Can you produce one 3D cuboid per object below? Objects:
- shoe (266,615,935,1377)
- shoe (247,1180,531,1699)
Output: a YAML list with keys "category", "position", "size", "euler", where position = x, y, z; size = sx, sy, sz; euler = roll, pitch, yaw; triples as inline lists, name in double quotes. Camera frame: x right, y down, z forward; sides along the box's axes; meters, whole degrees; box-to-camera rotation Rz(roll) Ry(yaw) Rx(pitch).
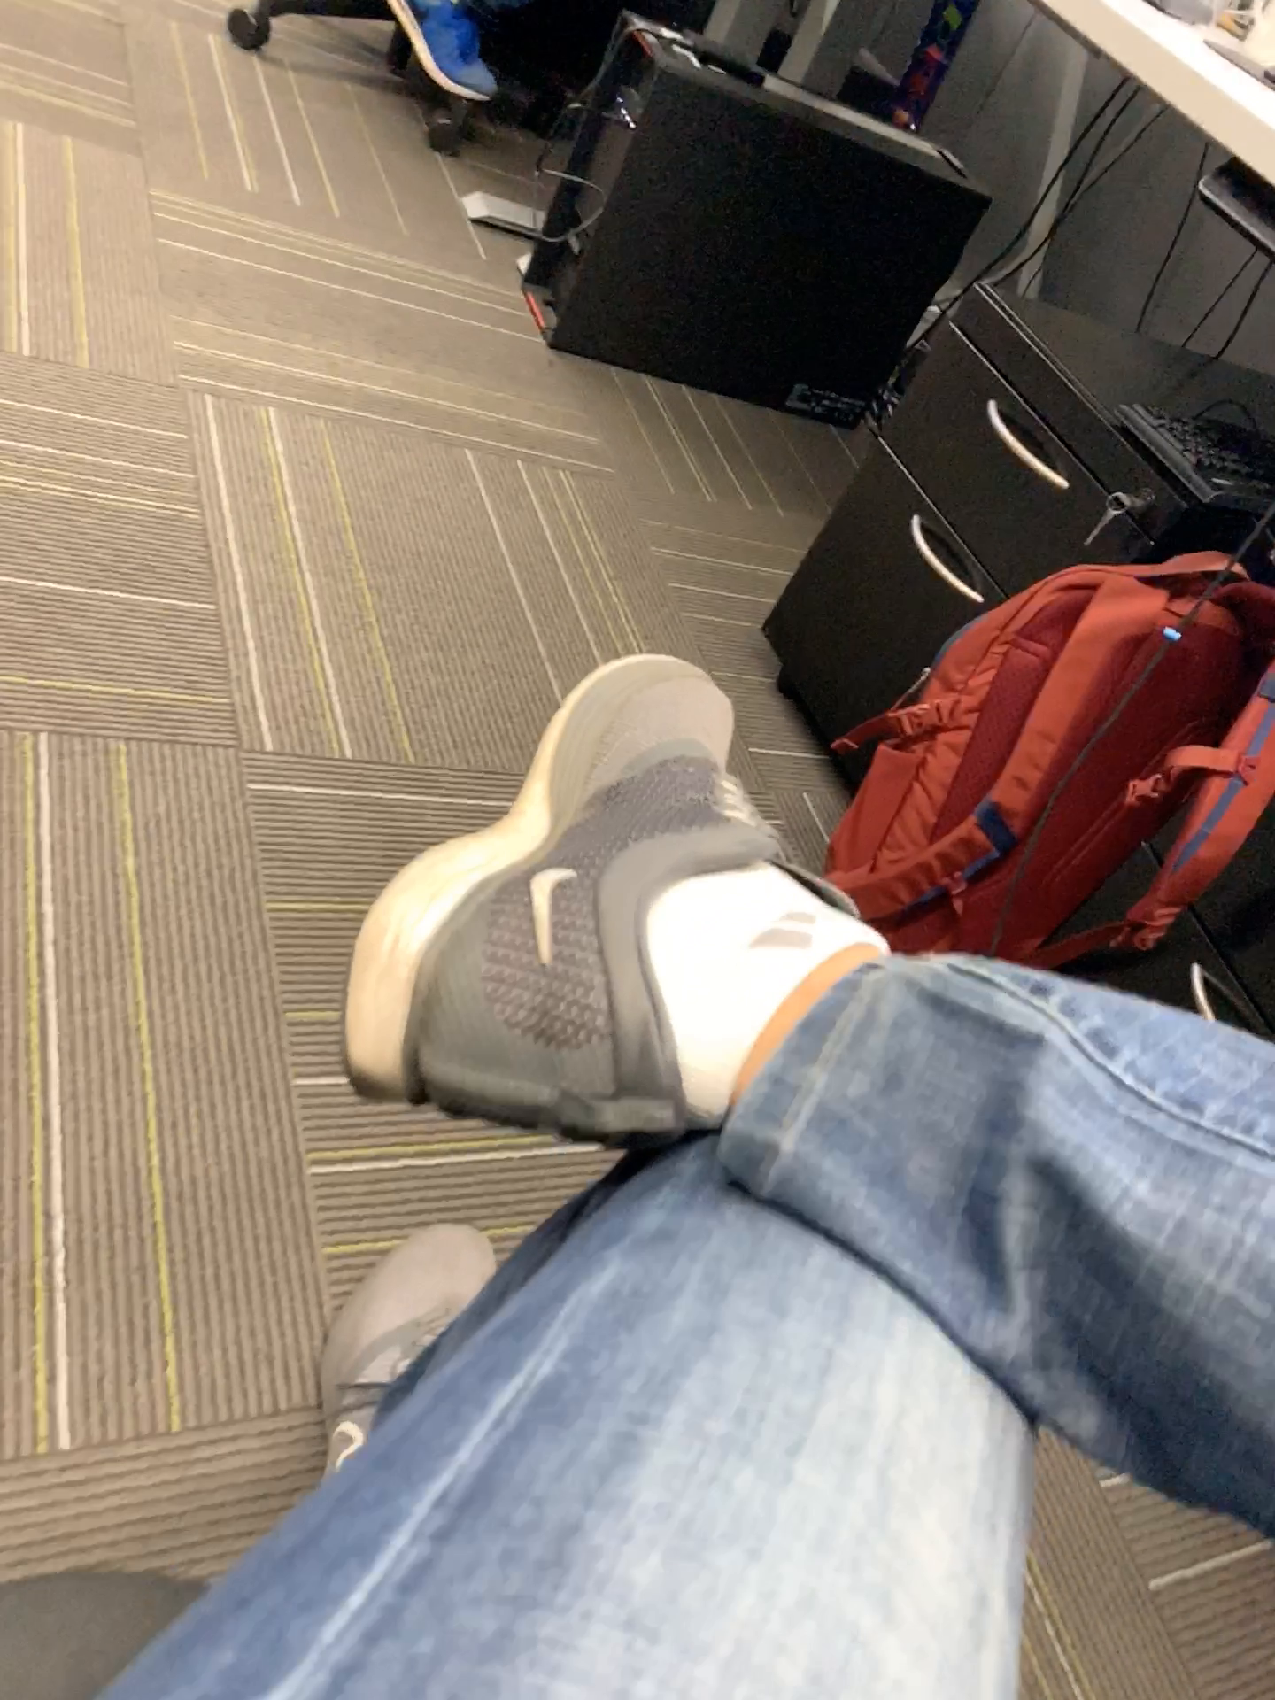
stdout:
- category: "shoe"
  position: [0.018, 0.021, 0.483]
  size: [0.142, 0.115, 0.296]
  euler: [5, 32, 20]
- category: "shoe"
  position: [-0.148, 0.372, 0.825]
  size: [0.117, 0.074, 0.294]
  euler: [18, 43, -16]
